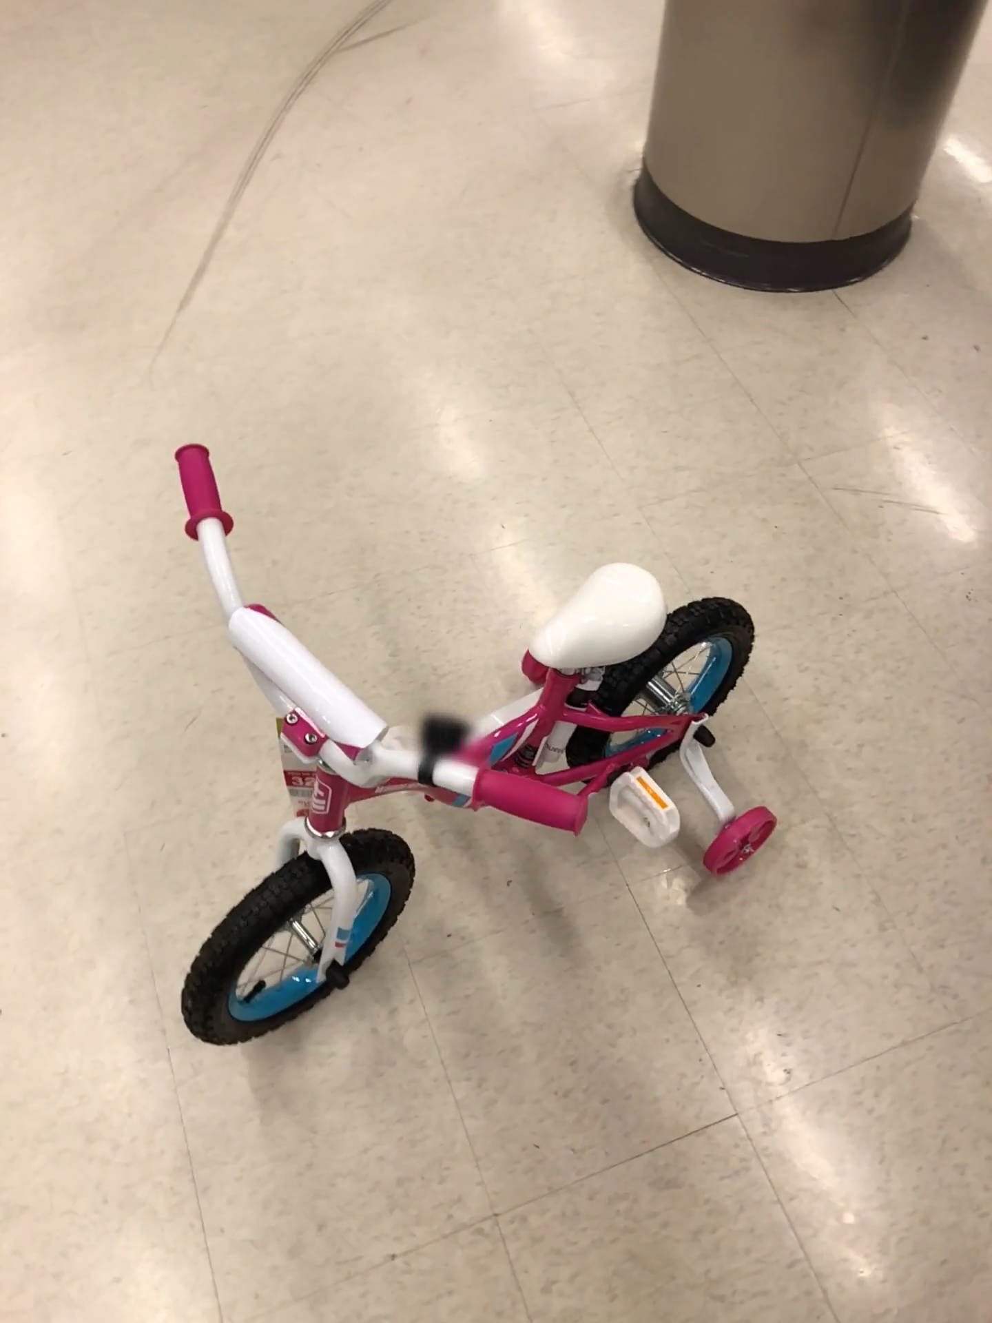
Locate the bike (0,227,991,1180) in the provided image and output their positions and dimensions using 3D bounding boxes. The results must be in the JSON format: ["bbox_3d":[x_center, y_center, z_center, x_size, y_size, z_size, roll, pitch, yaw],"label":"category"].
[{"bbox_3d":[-0.018,0.039,1.154,0.816,0.625,0.462,-30,61,-24],"label":"bike"}]
